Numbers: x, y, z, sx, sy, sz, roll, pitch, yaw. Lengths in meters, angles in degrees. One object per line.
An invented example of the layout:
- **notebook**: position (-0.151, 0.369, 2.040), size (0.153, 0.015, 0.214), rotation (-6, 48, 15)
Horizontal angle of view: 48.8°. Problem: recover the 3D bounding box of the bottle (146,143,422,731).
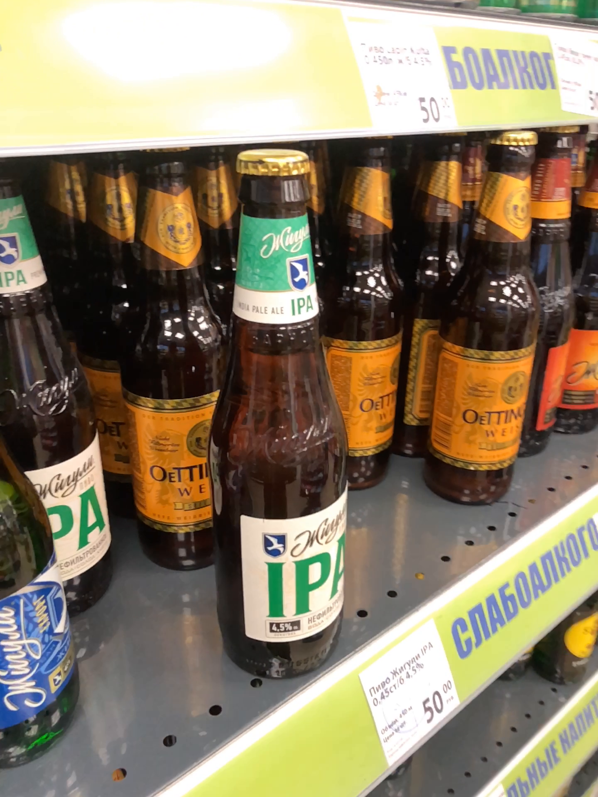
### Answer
- **bottle**: position (-0.011, 0.022, 0.310), size (0.080, 0.257, 0.070), rotation (-19, 33, -36)
